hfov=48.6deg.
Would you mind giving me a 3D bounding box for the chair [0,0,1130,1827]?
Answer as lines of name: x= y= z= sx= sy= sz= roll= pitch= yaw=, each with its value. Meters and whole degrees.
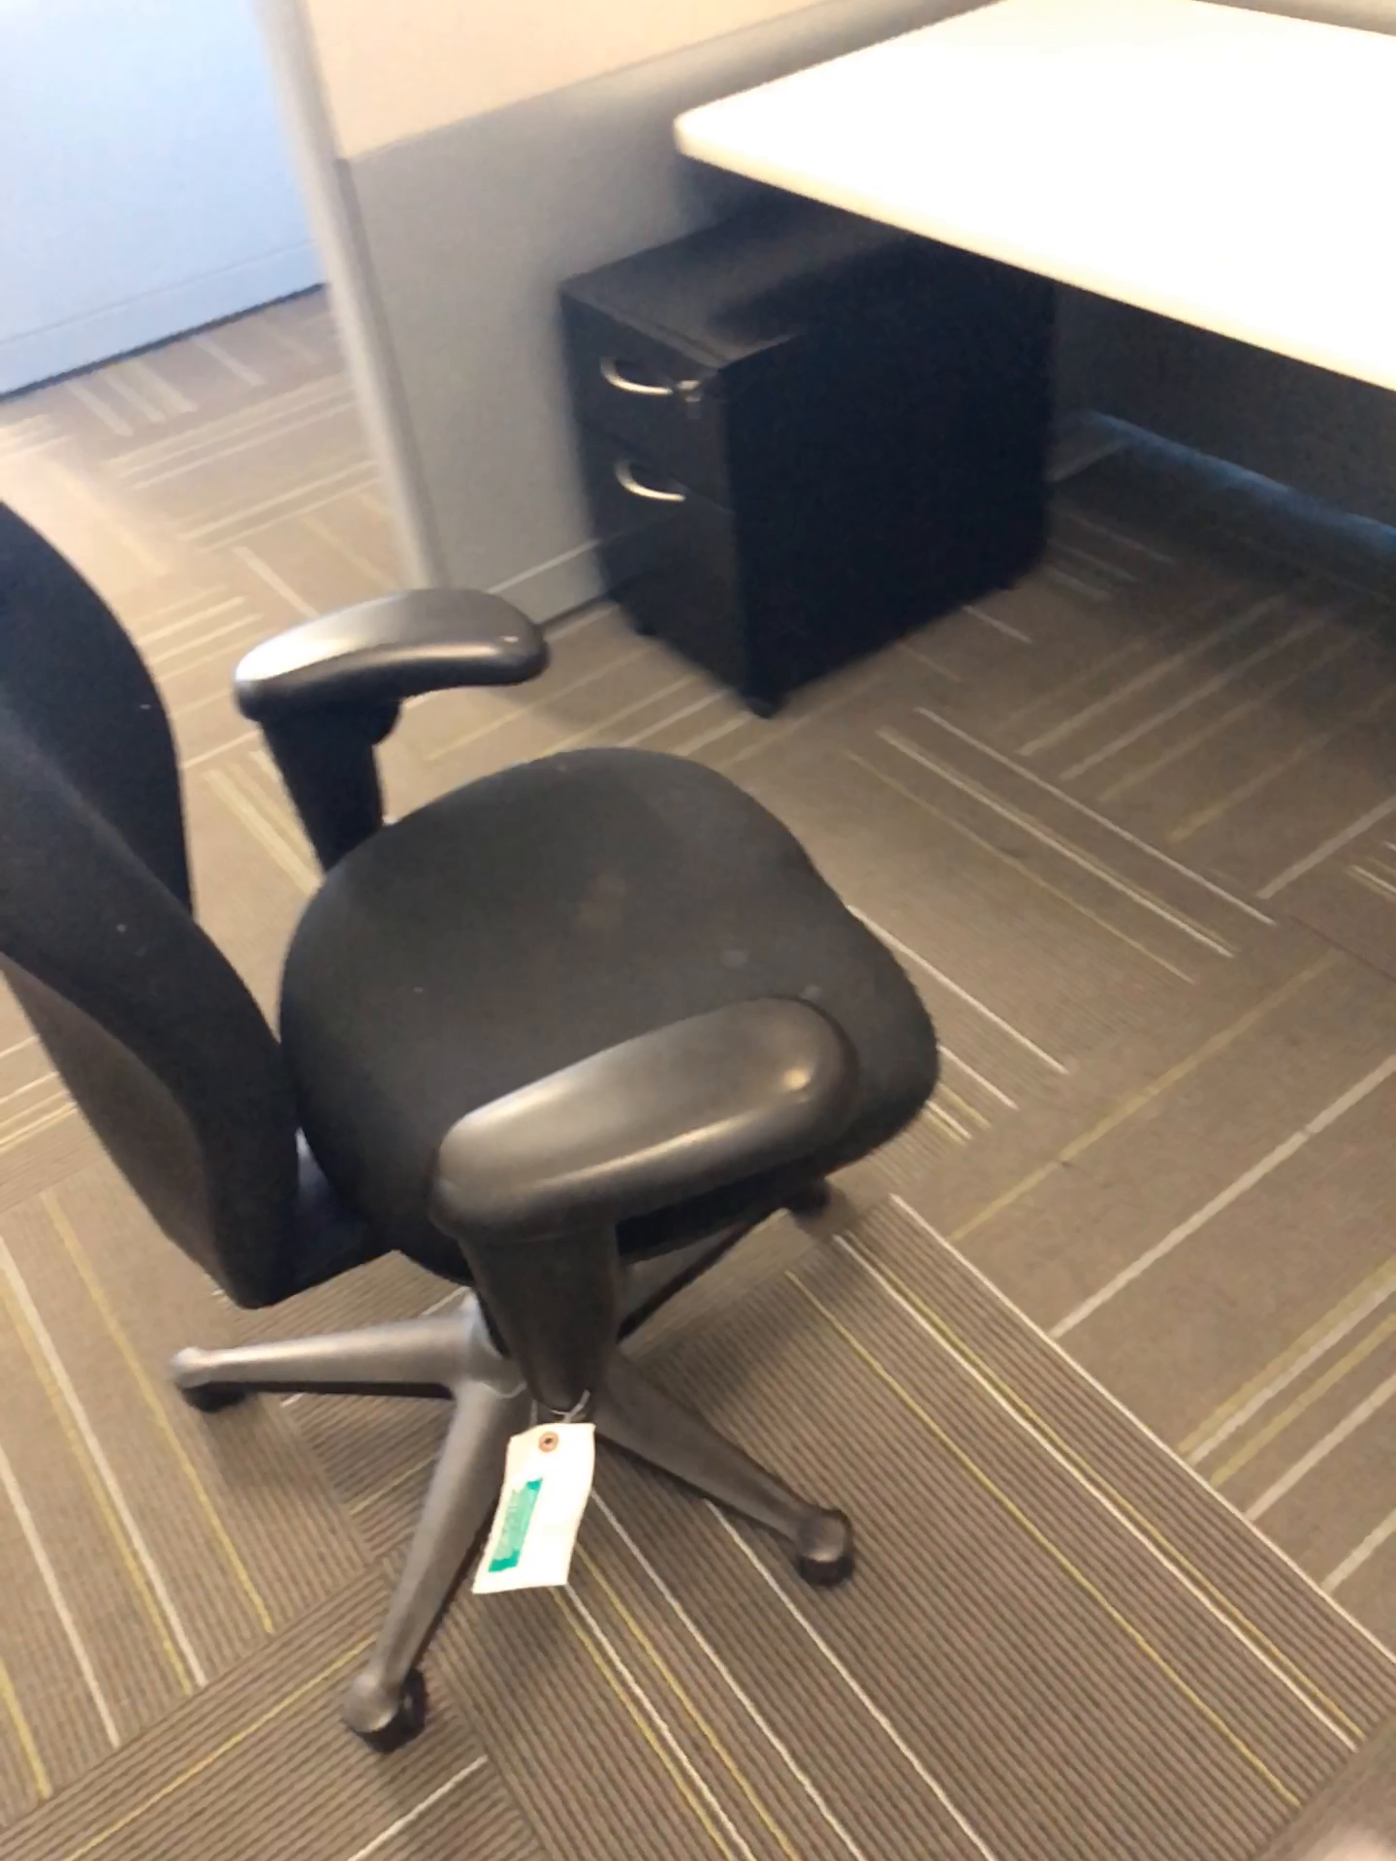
chair: x=-0.212 y=-0.011 z=1.124 sx=0.680 sy=0.995 sz=0.703 roll=-17 pitch=43 yaw=-9
